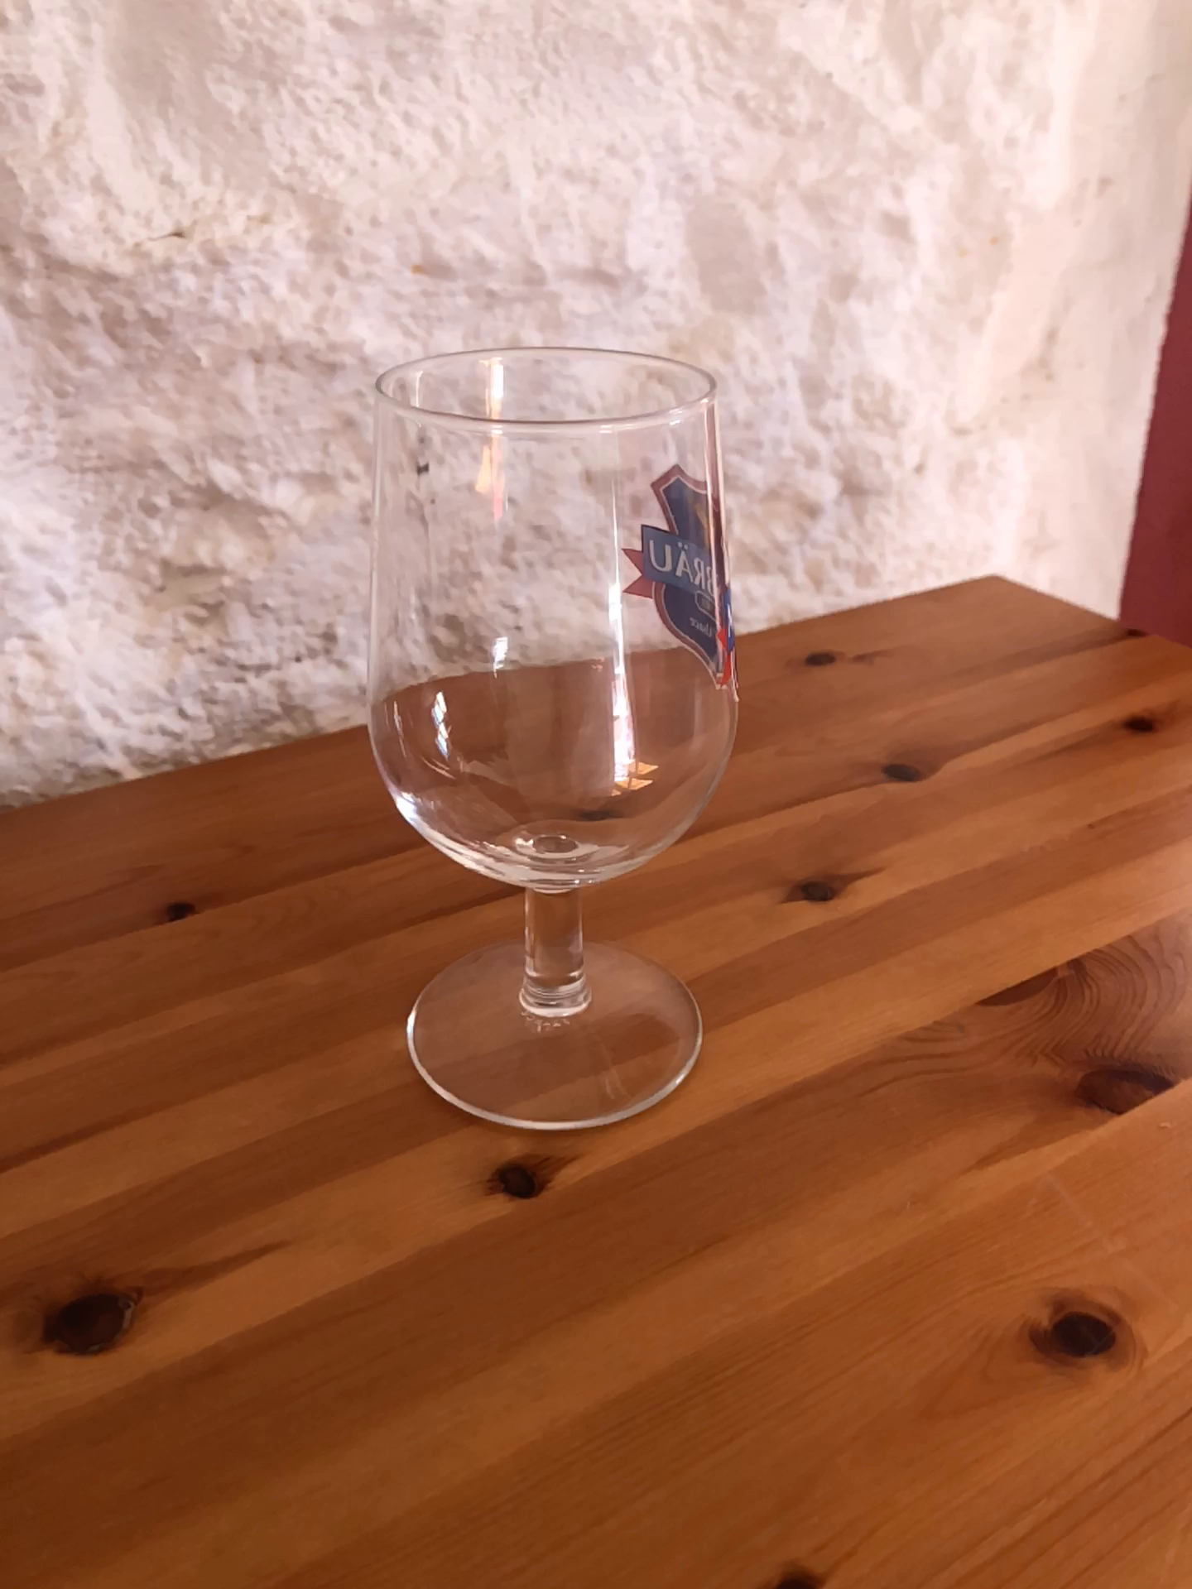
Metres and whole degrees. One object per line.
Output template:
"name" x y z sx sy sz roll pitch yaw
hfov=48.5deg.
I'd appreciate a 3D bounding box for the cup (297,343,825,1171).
"cup" -0.011 -0.012 0.275 0.077 0.142 0.079 0 27 0
